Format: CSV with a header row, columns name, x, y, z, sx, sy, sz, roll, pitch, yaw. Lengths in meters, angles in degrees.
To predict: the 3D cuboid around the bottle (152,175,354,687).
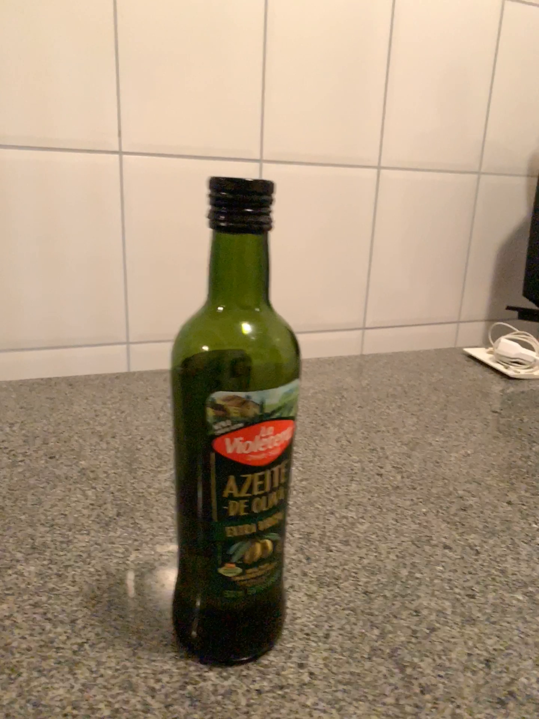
name,x,y,z,sx,sy,sz,roll,pitch,yaw
bottle,-0.014,0.035,0.280,0.070,0.239,0.060,-6,19,-27
